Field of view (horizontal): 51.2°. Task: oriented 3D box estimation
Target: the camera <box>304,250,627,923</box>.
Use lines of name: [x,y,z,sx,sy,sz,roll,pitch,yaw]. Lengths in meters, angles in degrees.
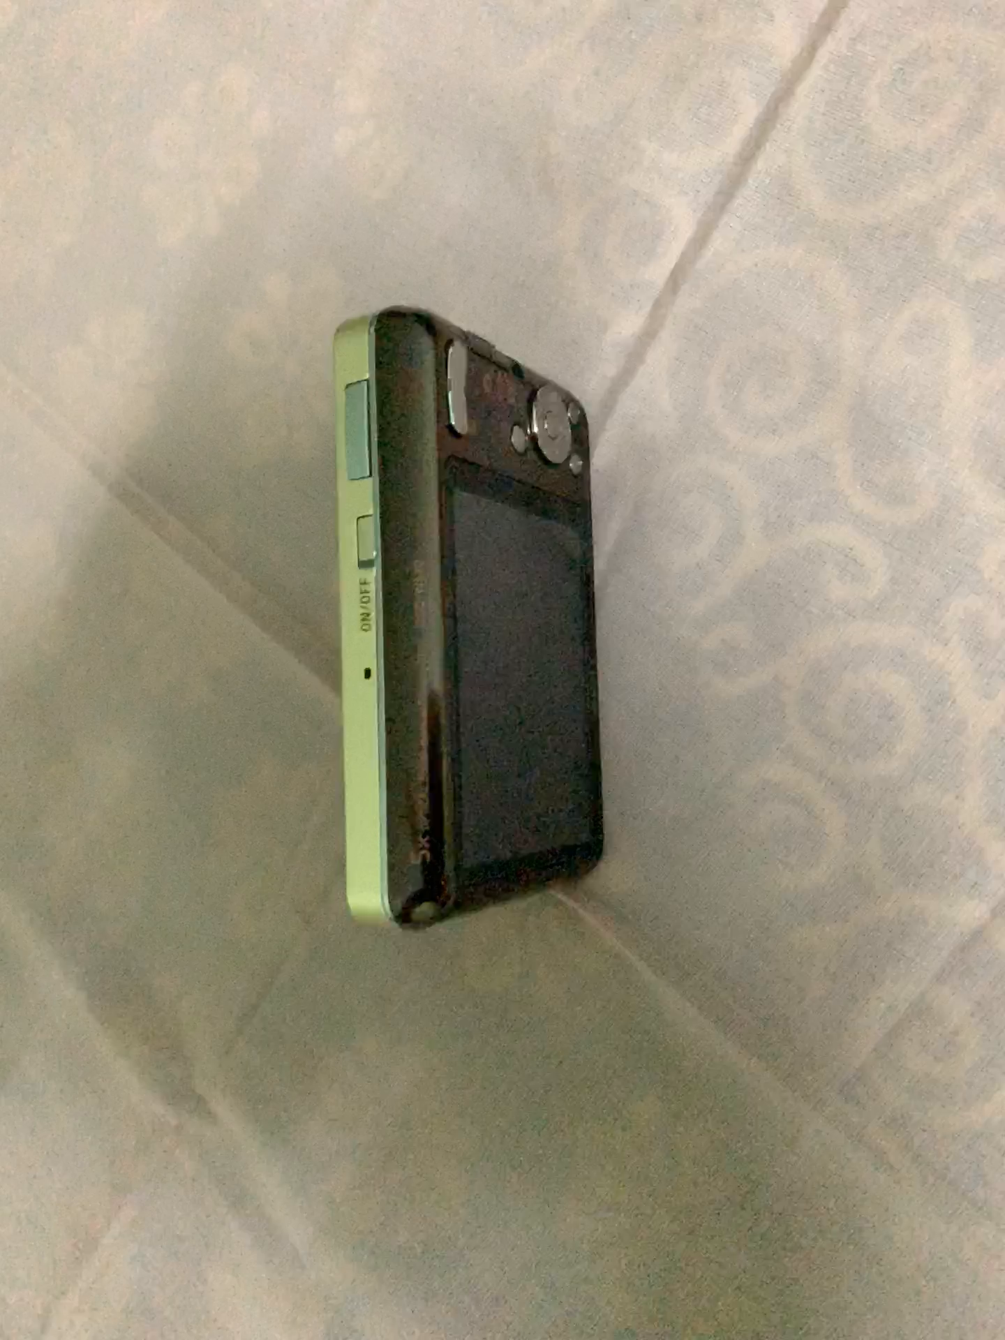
camera: [-0.003,-0.010,0.167,0.021,0.060,0.088,-4,85,30]
